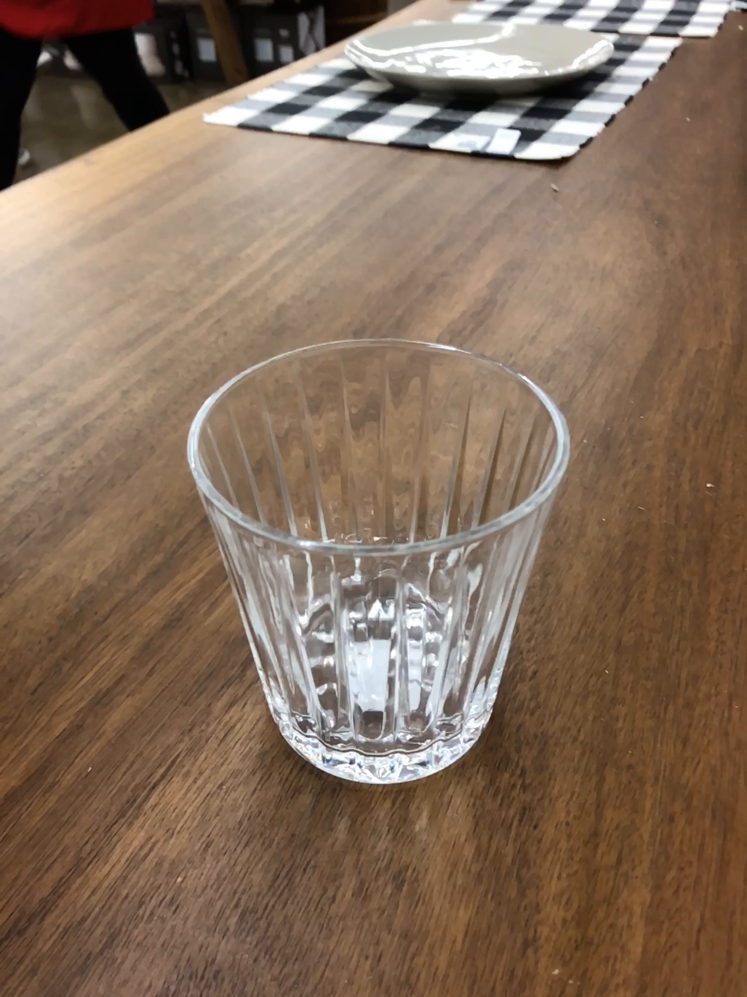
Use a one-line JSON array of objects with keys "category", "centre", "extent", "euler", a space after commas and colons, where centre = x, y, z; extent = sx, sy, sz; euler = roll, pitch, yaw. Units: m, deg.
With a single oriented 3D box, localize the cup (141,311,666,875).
[{"category": "cup", "centre": [0.009, 0.019, 0.232], "extent": [0.094, 0.093, 0.089], "euler": [-2, 38, 1]}]
